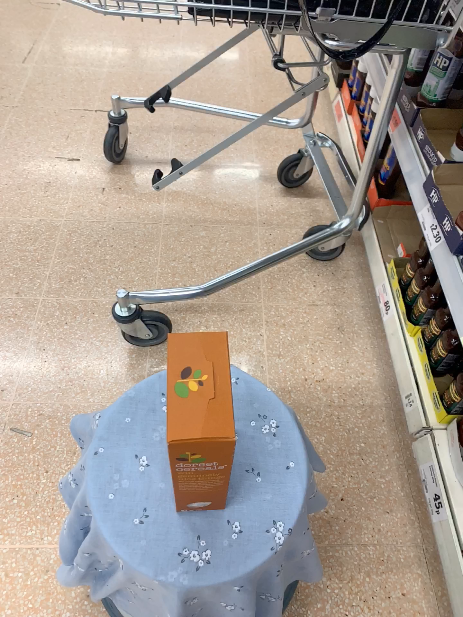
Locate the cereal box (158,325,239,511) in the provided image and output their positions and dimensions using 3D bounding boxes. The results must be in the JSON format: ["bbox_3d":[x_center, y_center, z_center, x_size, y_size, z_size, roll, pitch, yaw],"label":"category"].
[{"bbox_3d":[-0.039,0.133,0.532,0.070,0.228,0.121,-2,54,-5],"label":"cereal box"}]
